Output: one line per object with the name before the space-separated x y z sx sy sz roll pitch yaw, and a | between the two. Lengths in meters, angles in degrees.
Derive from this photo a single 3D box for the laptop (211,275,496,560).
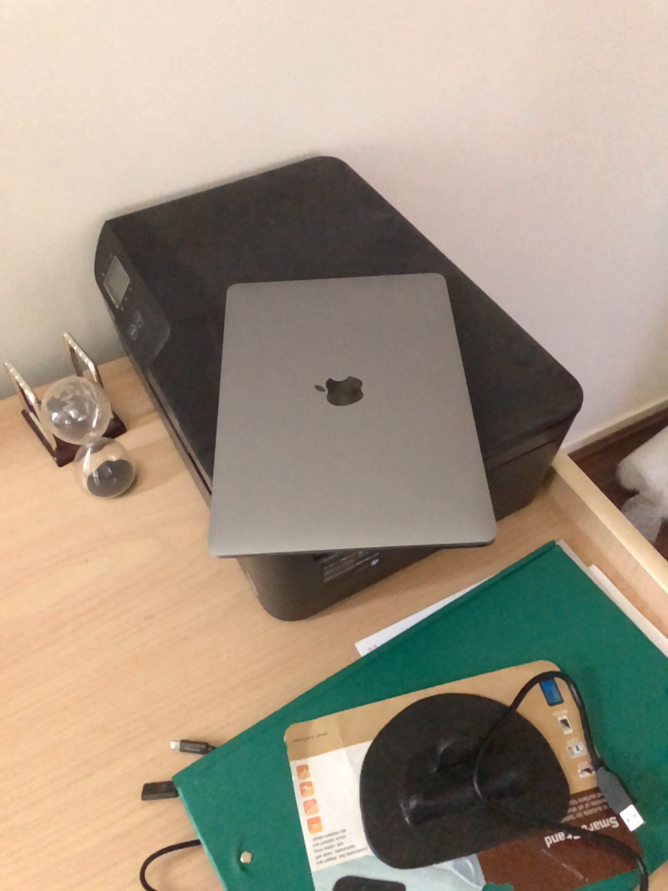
laptop | 0.008 -0.036 0.568 0.188 0.007 0.266 -3 53 1
